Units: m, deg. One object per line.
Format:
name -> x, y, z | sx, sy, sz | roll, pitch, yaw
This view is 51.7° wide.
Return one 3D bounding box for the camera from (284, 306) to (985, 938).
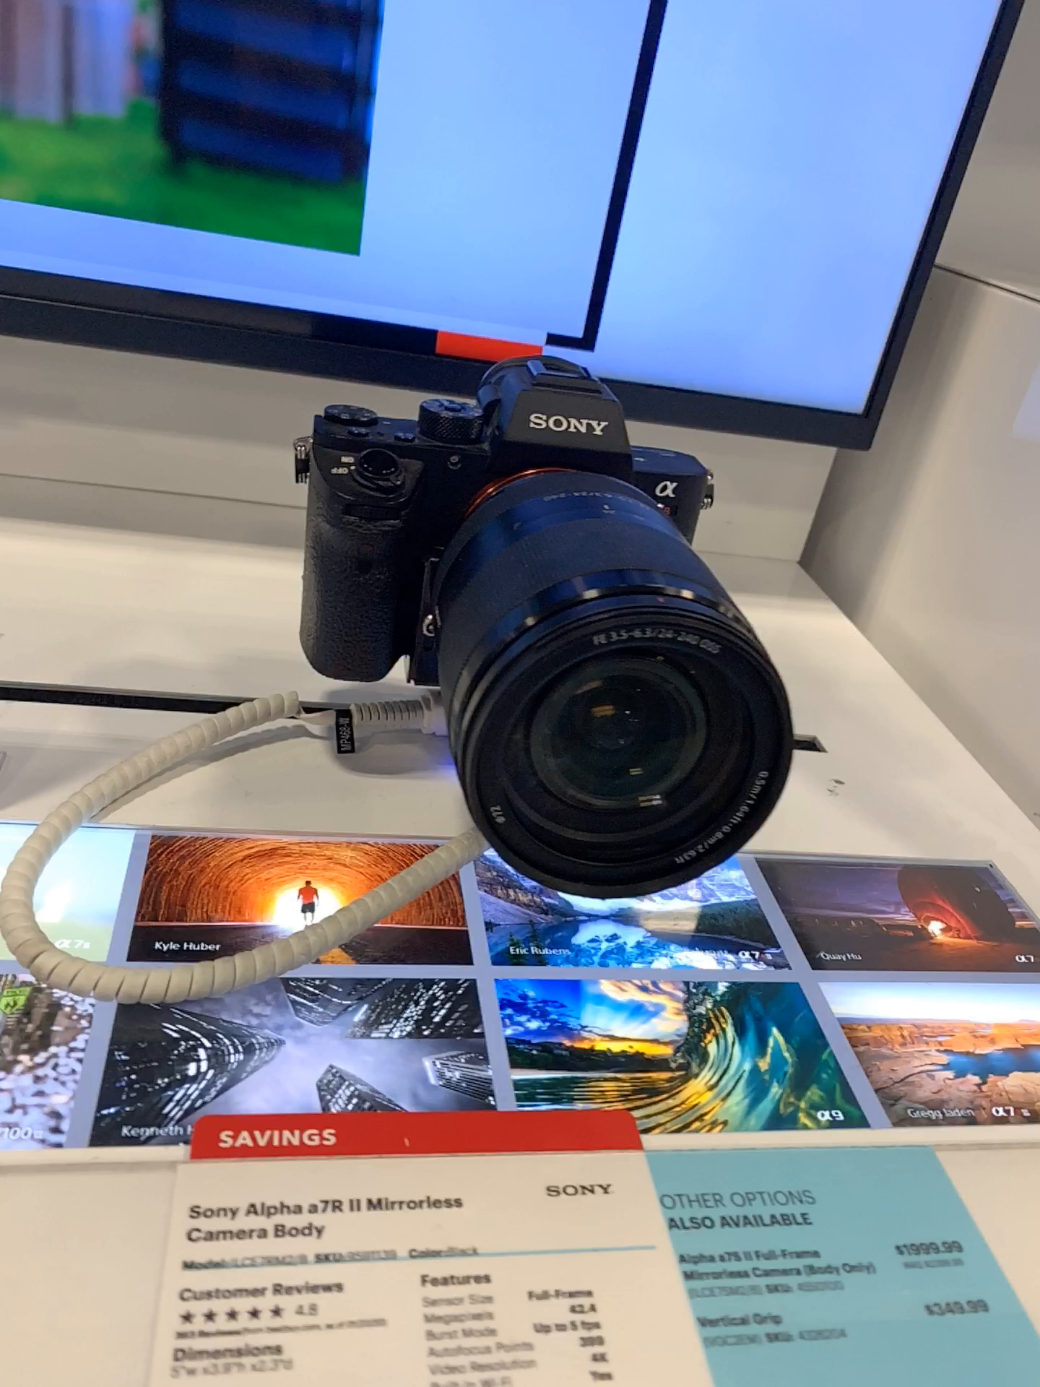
camera -> 0.006, -0.033, 0.300 | 0.128, 0.091, 0.185 | 2, 31, -16
